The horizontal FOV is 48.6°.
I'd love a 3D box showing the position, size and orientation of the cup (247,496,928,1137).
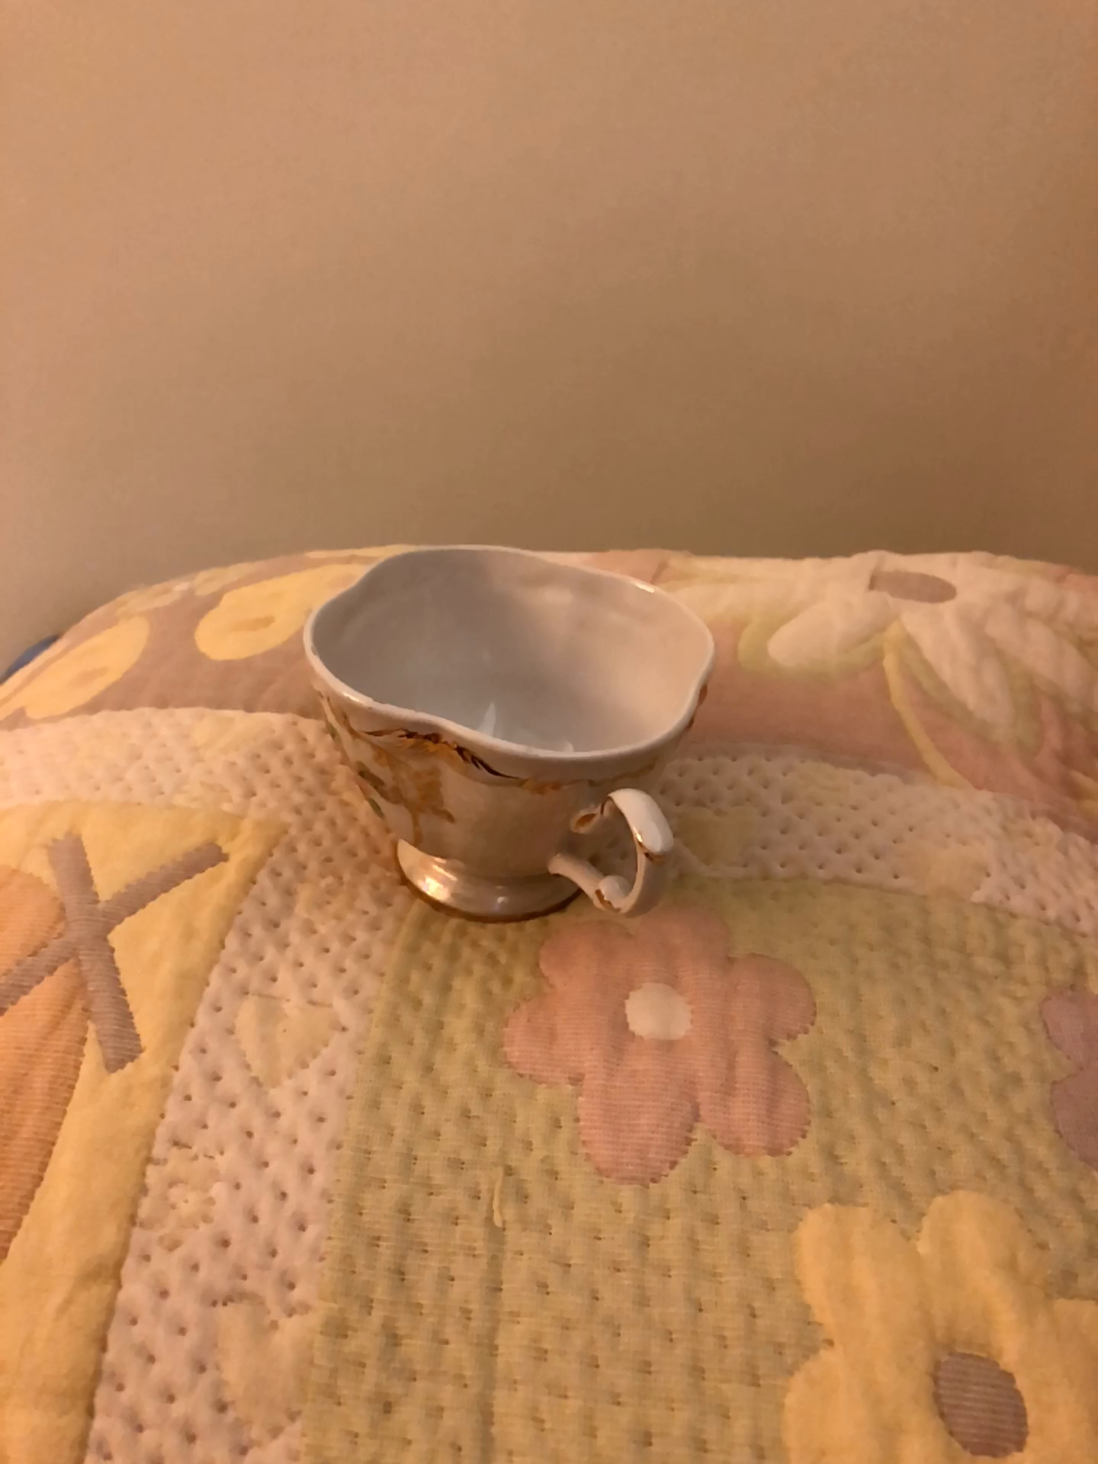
[{"bbox_3d":[-0.003,0.006,0.295,0.100,0.070,0.141,-11,36,-27],"label":"cup"}]
